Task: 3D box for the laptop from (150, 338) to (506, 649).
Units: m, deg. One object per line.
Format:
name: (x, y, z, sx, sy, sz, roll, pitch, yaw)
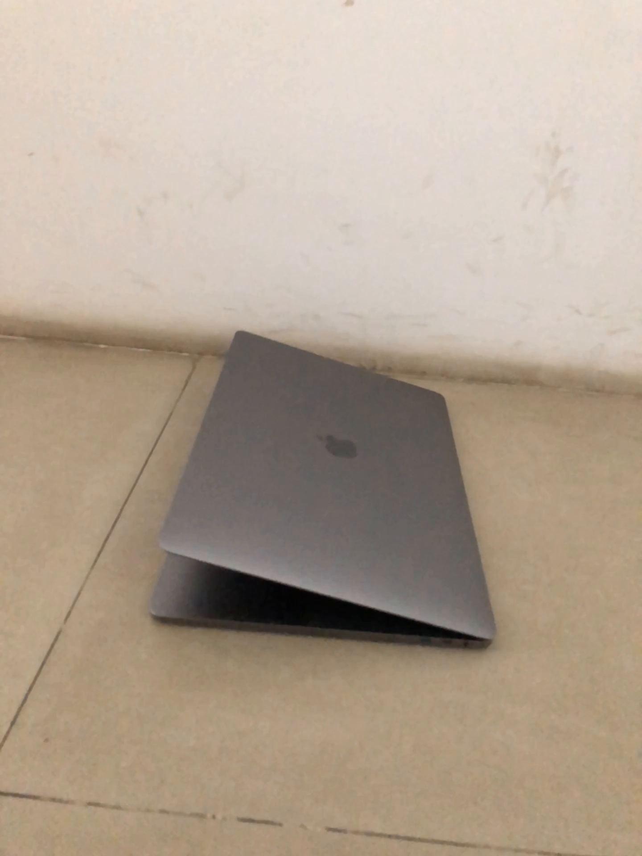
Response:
laptop: (0.013, 0.028, 0.612, 0.232, 0.057, 0.337, 5, 32, 1)
